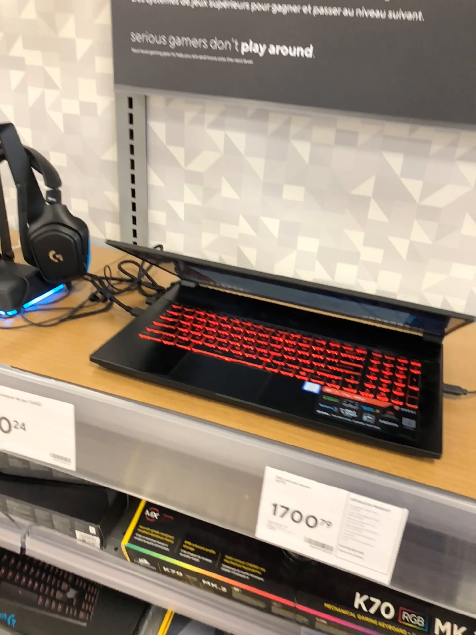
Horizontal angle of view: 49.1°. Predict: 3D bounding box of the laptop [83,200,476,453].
[{"bbox_3d":[0.057,-0.020,0.635,0.393,0.133,0.249,13,29,16],"label":"laptop"}]
